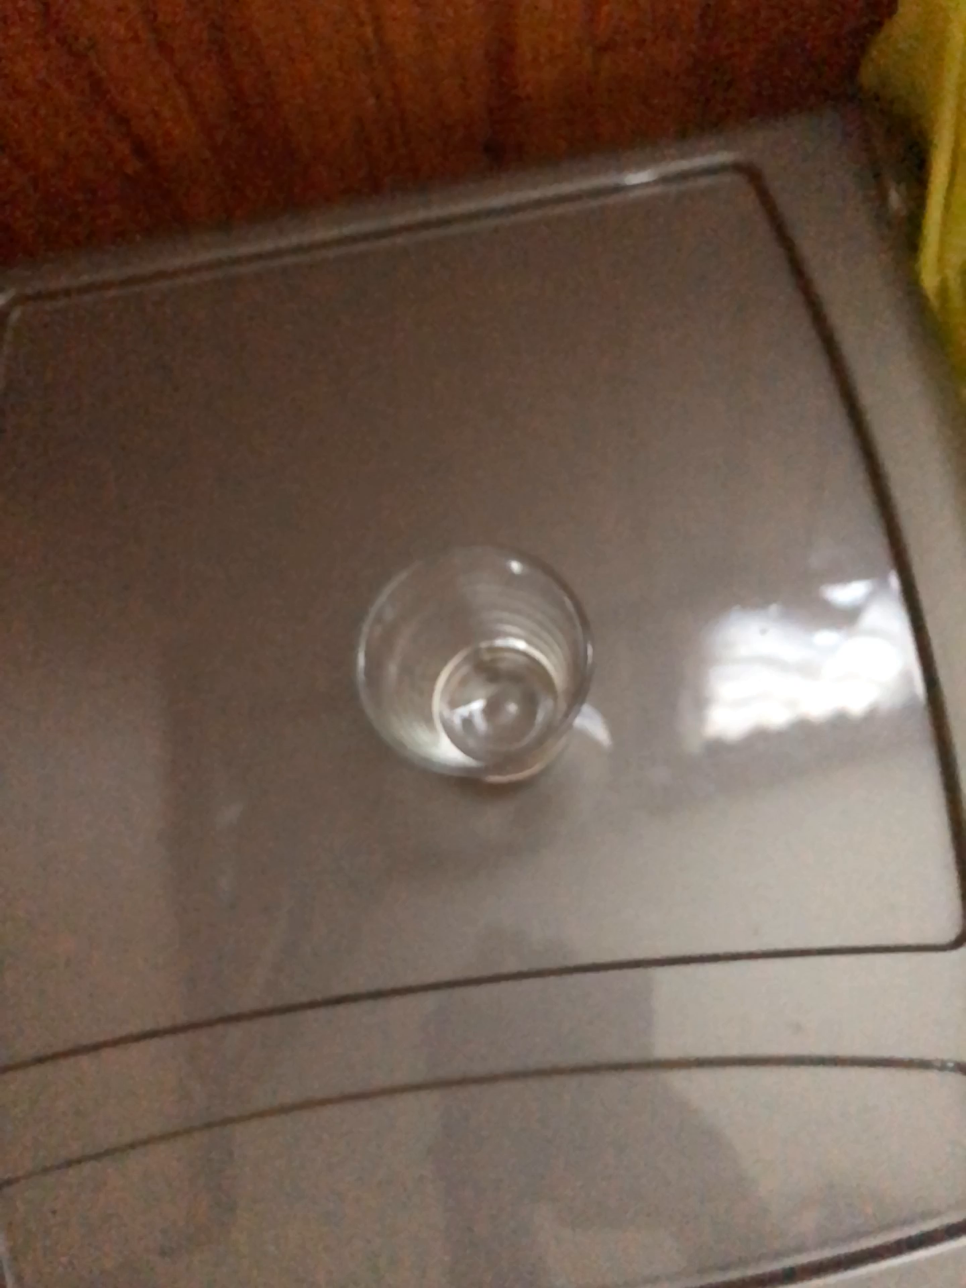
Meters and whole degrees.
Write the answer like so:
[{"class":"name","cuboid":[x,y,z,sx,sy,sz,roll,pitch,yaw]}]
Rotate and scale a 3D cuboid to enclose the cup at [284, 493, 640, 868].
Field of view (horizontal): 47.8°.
[{"class":"cup","cuboid":[-0.001,0.014,0.294,0.060,0.080,0.060,-2,74,6]}]
